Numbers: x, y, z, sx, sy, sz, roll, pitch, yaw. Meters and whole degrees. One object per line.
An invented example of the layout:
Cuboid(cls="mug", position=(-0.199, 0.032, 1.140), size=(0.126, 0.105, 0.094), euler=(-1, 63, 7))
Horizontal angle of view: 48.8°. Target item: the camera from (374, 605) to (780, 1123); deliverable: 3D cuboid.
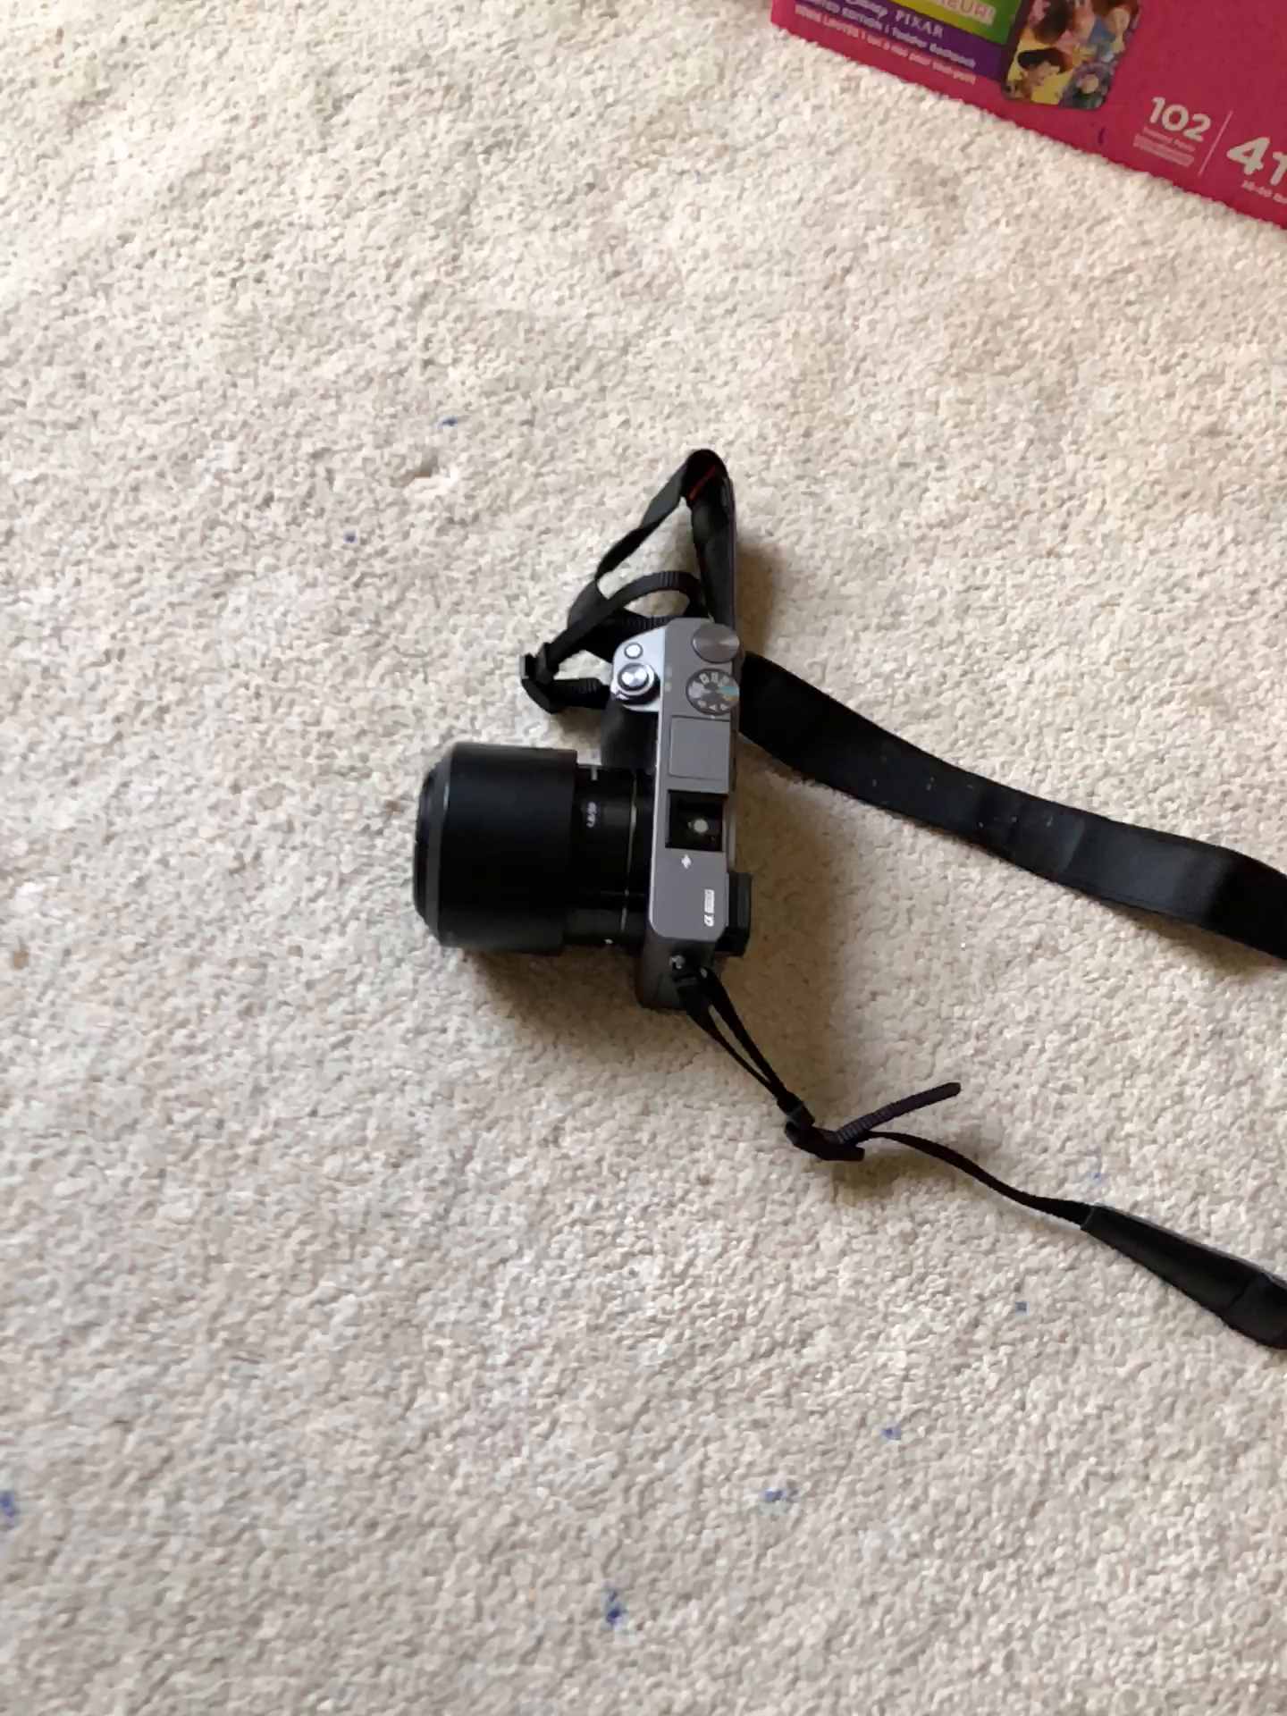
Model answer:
Cuboid(cls="camera", position=(-0.019, 0.003, 0.447), size=(0.110, 0.070, 0.140), euler=(4, 63, -4))
